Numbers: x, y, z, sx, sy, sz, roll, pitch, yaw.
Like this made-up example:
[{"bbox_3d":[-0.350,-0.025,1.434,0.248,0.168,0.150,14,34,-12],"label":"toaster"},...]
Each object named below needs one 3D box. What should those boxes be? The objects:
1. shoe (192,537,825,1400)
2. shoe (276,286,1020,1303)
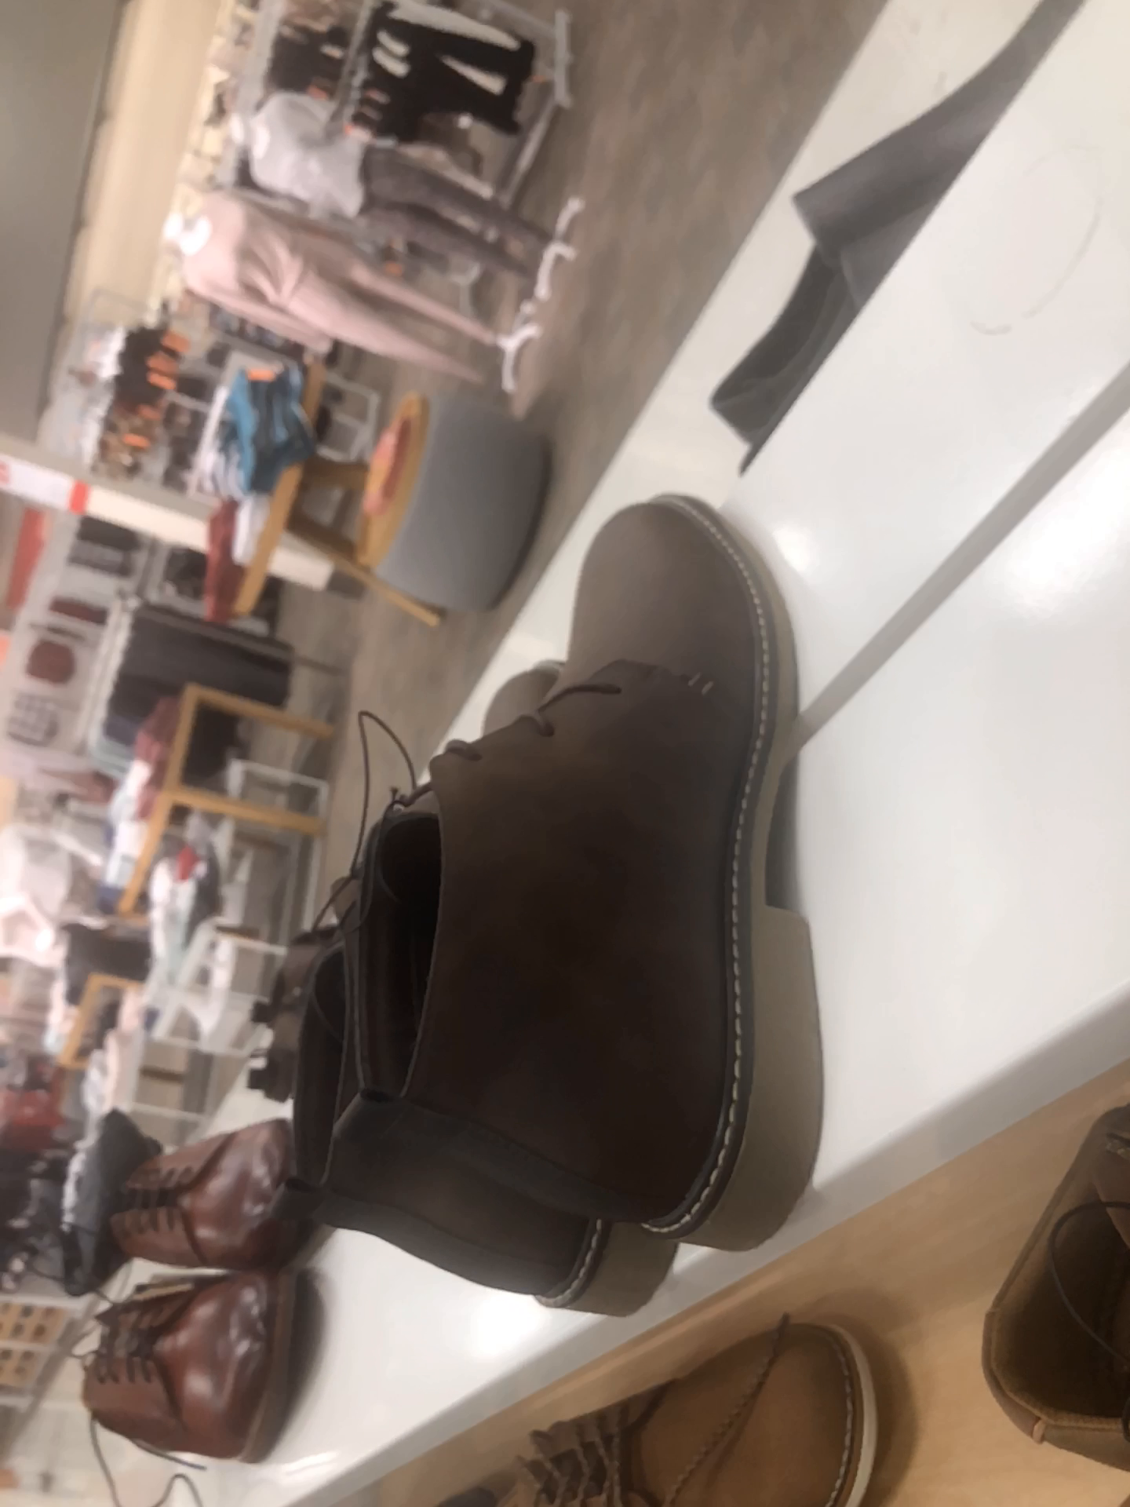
[{"bbox_3d":[-0.033,0.075,0.538,0.128,0.172,0.315,-55,27,35],"label":"shoe"},{"bbox_3d":[0.021,0.009,0.464,0.133,0.172,0.315,-48,32,45],"label":"shoe"}]
